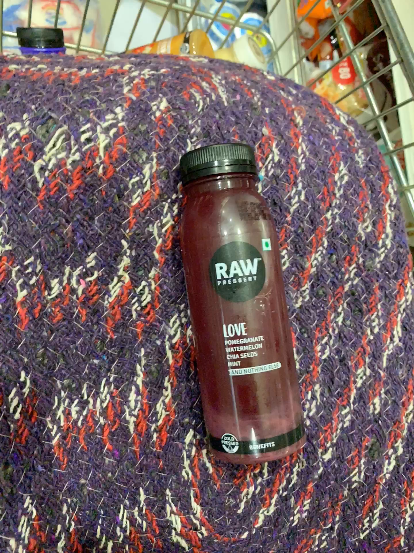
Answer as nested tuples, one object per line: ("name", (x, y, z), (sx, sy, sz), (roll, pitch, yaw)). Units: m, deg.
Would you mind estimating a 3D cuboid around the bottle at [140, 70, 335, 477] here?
("bottle", (0.012, -0.002, 0.217), (0.060, 0.060, 0.170), (-9, 89, -4))
